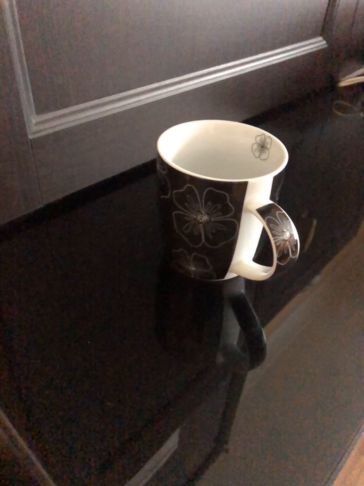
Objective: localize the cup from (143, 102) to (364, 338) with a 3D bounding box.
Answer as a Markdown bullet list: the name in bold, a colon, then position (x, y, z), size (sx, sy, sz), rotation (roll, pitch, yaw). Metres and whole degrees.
- **cup**: position (0.042, -0.025, 0.276), size (0.090, 0.089, 0.121), rotation (-20, 45, -27)
